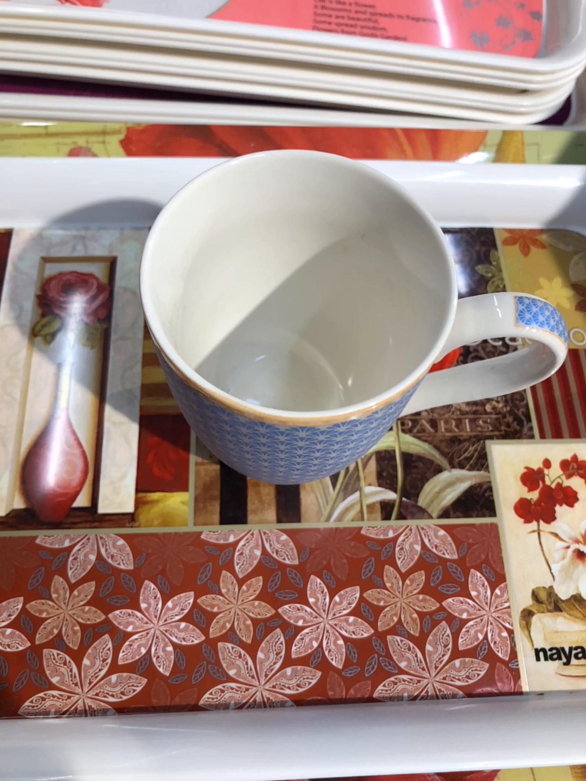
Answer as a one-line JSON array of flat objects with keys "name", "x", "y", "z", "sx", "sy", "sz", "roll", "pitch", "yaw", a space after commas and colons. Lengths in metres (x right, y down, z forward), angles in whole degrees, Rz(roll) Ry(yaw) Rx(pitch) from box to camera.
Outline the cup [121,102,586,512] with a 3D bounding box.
[{"name": "cup", "x": 0.017, "y": -0.018, "z": 0.204, "sx": 0.120, "sy": 0.100, "sz": 0.080, "roll": -1, "pitch": 64, "yaw": -7}]
